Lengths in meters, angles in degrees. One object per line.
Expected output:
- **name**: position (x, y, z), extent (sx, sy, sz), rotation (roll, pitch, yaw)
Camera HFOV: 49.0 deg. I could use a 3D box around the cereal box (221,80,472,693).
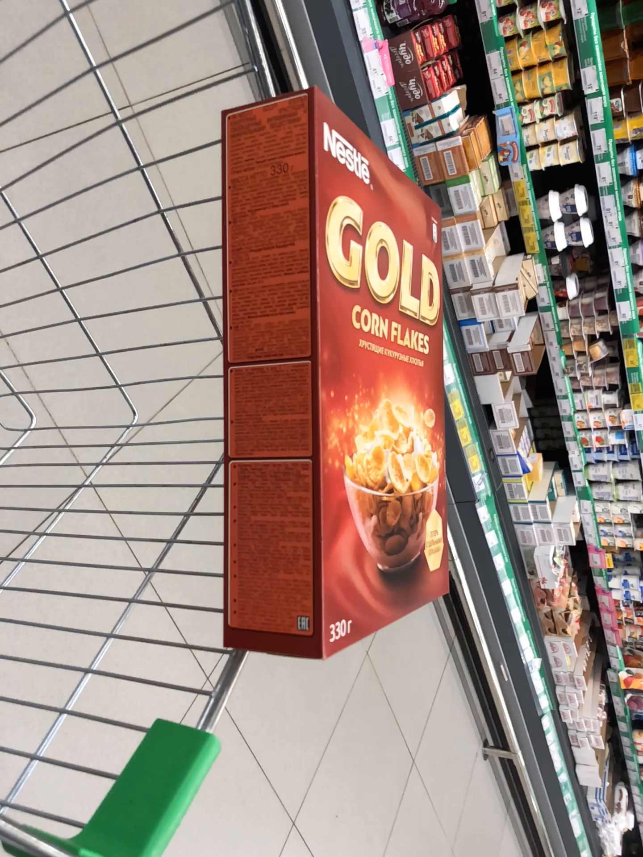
- **cereal box**: position (0.028, -0.017, 0.427), extent (0.211, 0.060, 0.280), rotation (5, 84, -61)
